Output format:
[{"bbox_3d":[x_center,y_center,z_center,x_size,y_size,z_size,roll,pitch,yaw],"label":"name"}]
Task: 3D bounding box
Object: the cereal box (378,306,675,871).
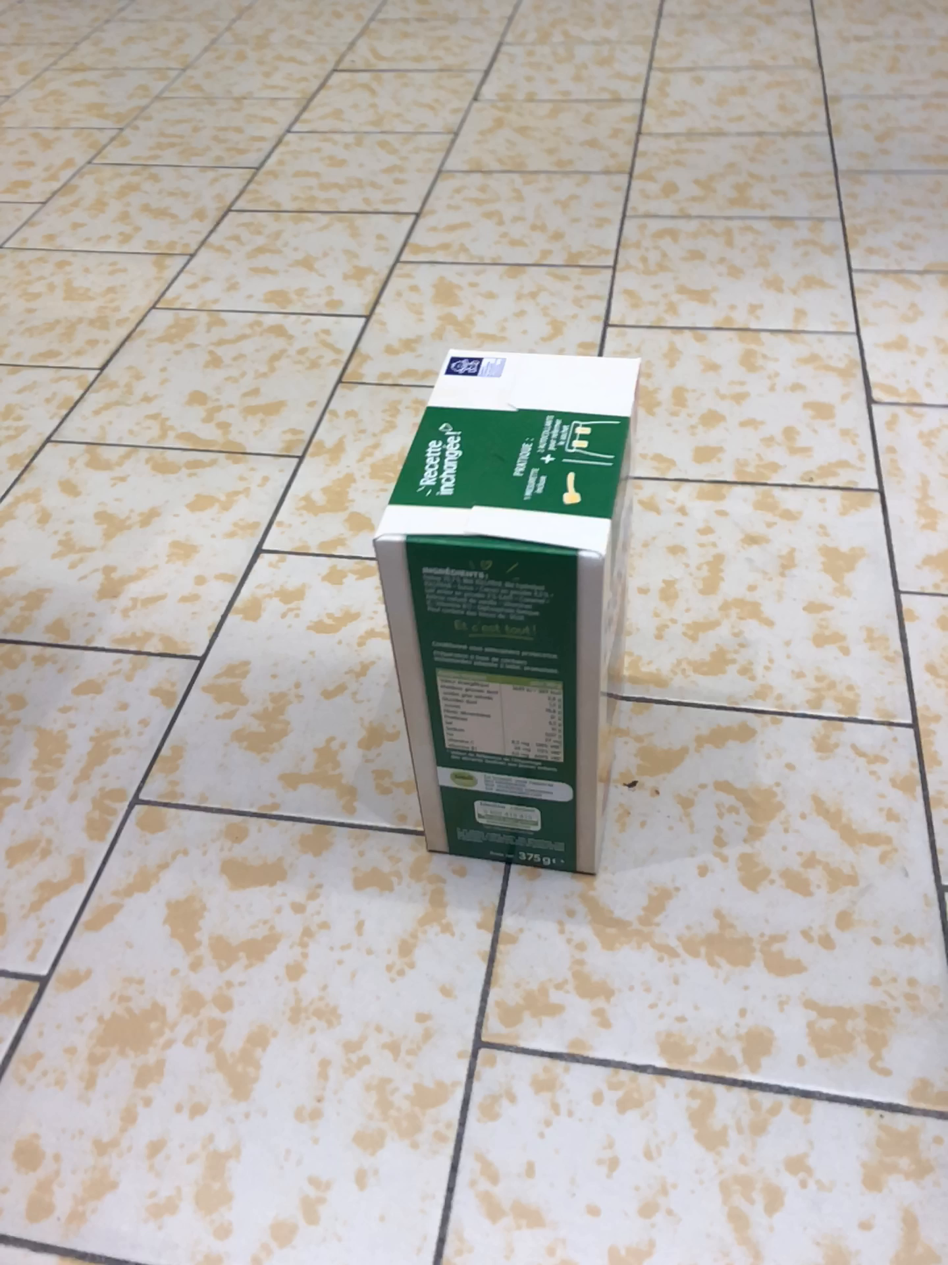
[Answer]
[{"bbox_3d":[0.029,-0.014,0.418,0.080,0.179,0.131,6,46,11],"label":"cereal box"}]
